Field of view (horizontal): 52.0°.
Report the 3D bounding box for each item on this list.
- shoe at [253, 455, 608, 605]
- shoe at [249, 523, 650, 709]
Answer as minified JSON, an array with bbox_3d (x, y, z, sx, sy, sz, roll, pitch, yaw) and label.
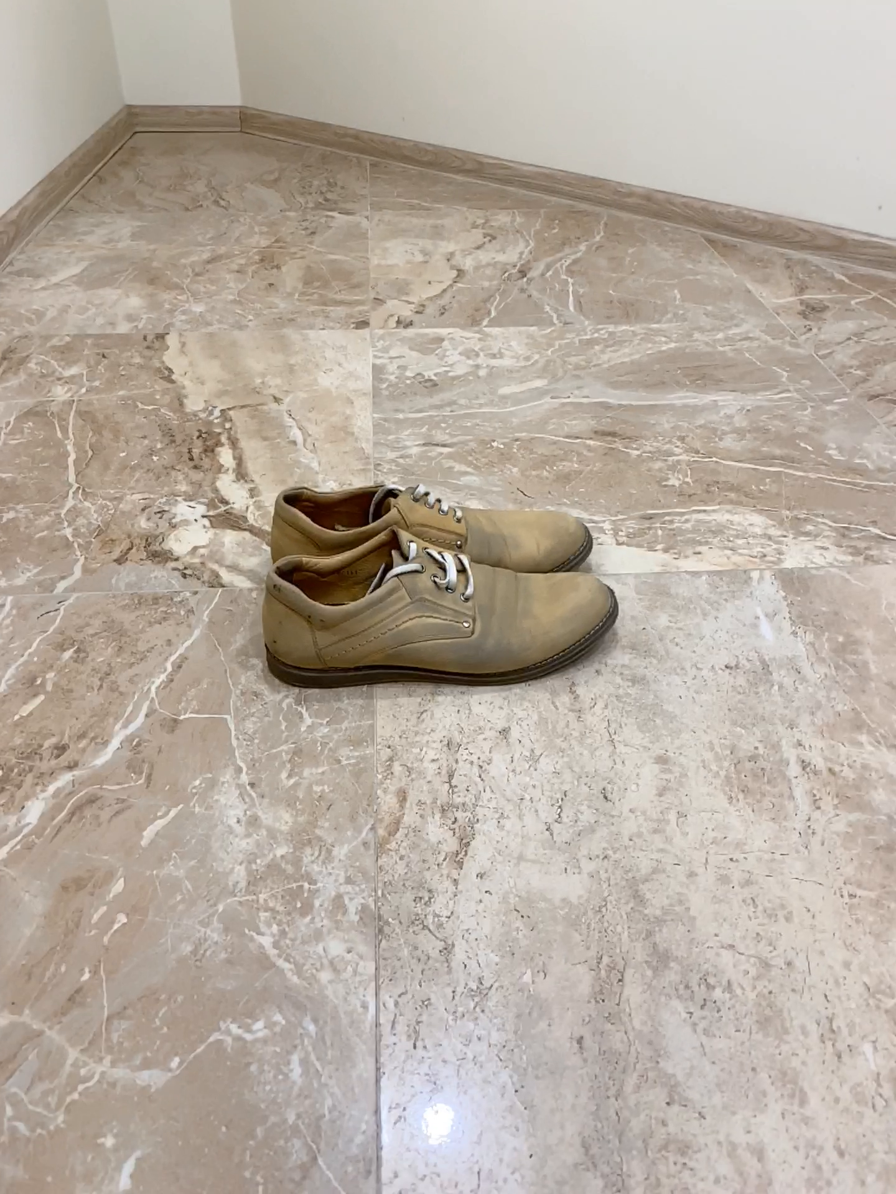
[{"bbox_3d":[-0.017,-0.060,0.786,0.280,0.070,0.111,-2,38,-5],"label":"shoe"},{"bbox_3d":[-0.002,0.012,0.706,0.280,0.080,0.111,-2,38,-5],"label":"shoe"}]
